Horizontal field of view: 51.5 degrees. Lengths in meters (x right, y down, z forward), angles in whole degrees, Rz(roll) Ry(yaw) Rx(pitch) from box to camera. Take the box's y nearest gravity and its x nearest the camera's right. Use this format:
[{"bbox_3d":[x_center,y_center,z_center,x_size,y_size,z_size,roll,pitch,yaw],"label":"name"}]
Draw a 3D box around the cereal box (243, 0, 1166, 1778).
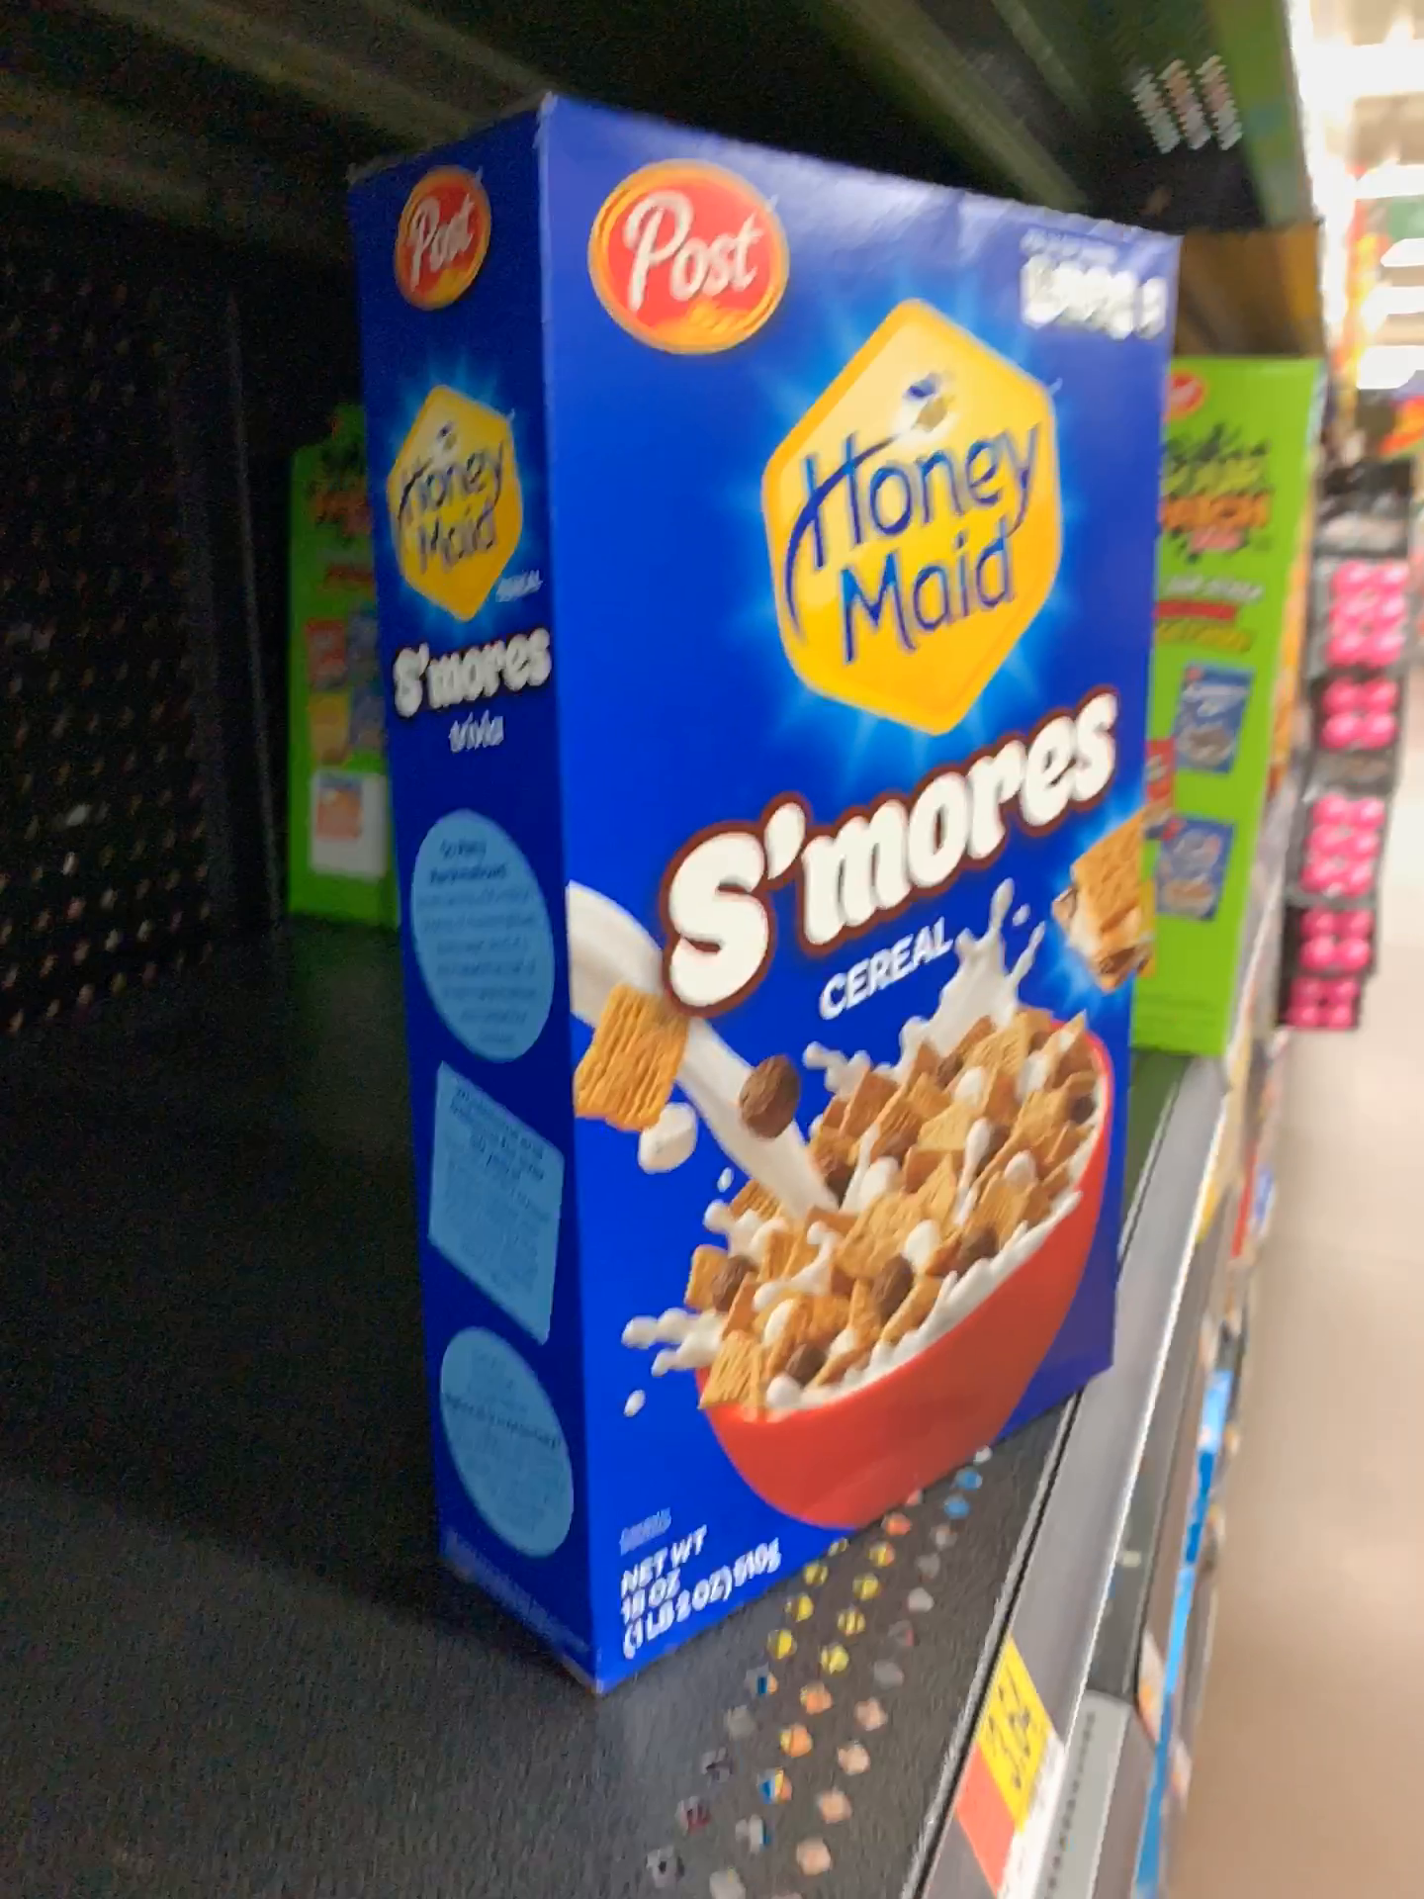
[{"bbox_3d":[0.013,-0.012,0.350,0.200,0.319,0.070,-13,19,-41],"label":"cereal box"}]
